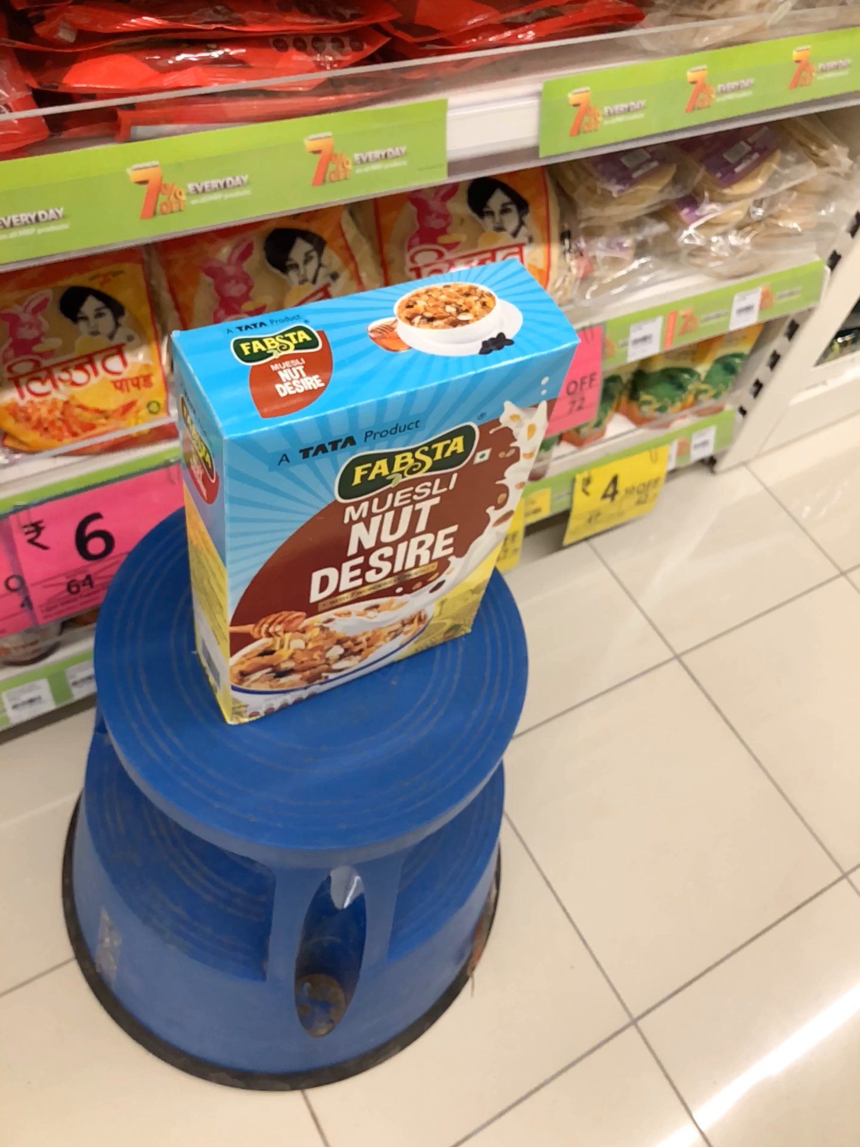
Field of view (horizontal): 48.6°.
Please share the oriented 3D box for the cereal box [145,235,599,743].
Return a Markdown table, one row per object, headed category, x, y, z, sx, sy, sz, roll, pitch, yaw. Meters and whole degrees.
| category | x | y | z | sx | sy | sz | roll | pitch | yaw |
| --- | --- | --- | --- | --- | --- | --- | --- | --- | --- |
| cereal box | -0.039 | -0.029 | 0.483 | 0.171 | 0.249 | 0.070 | -21 | 62 | -24 |
